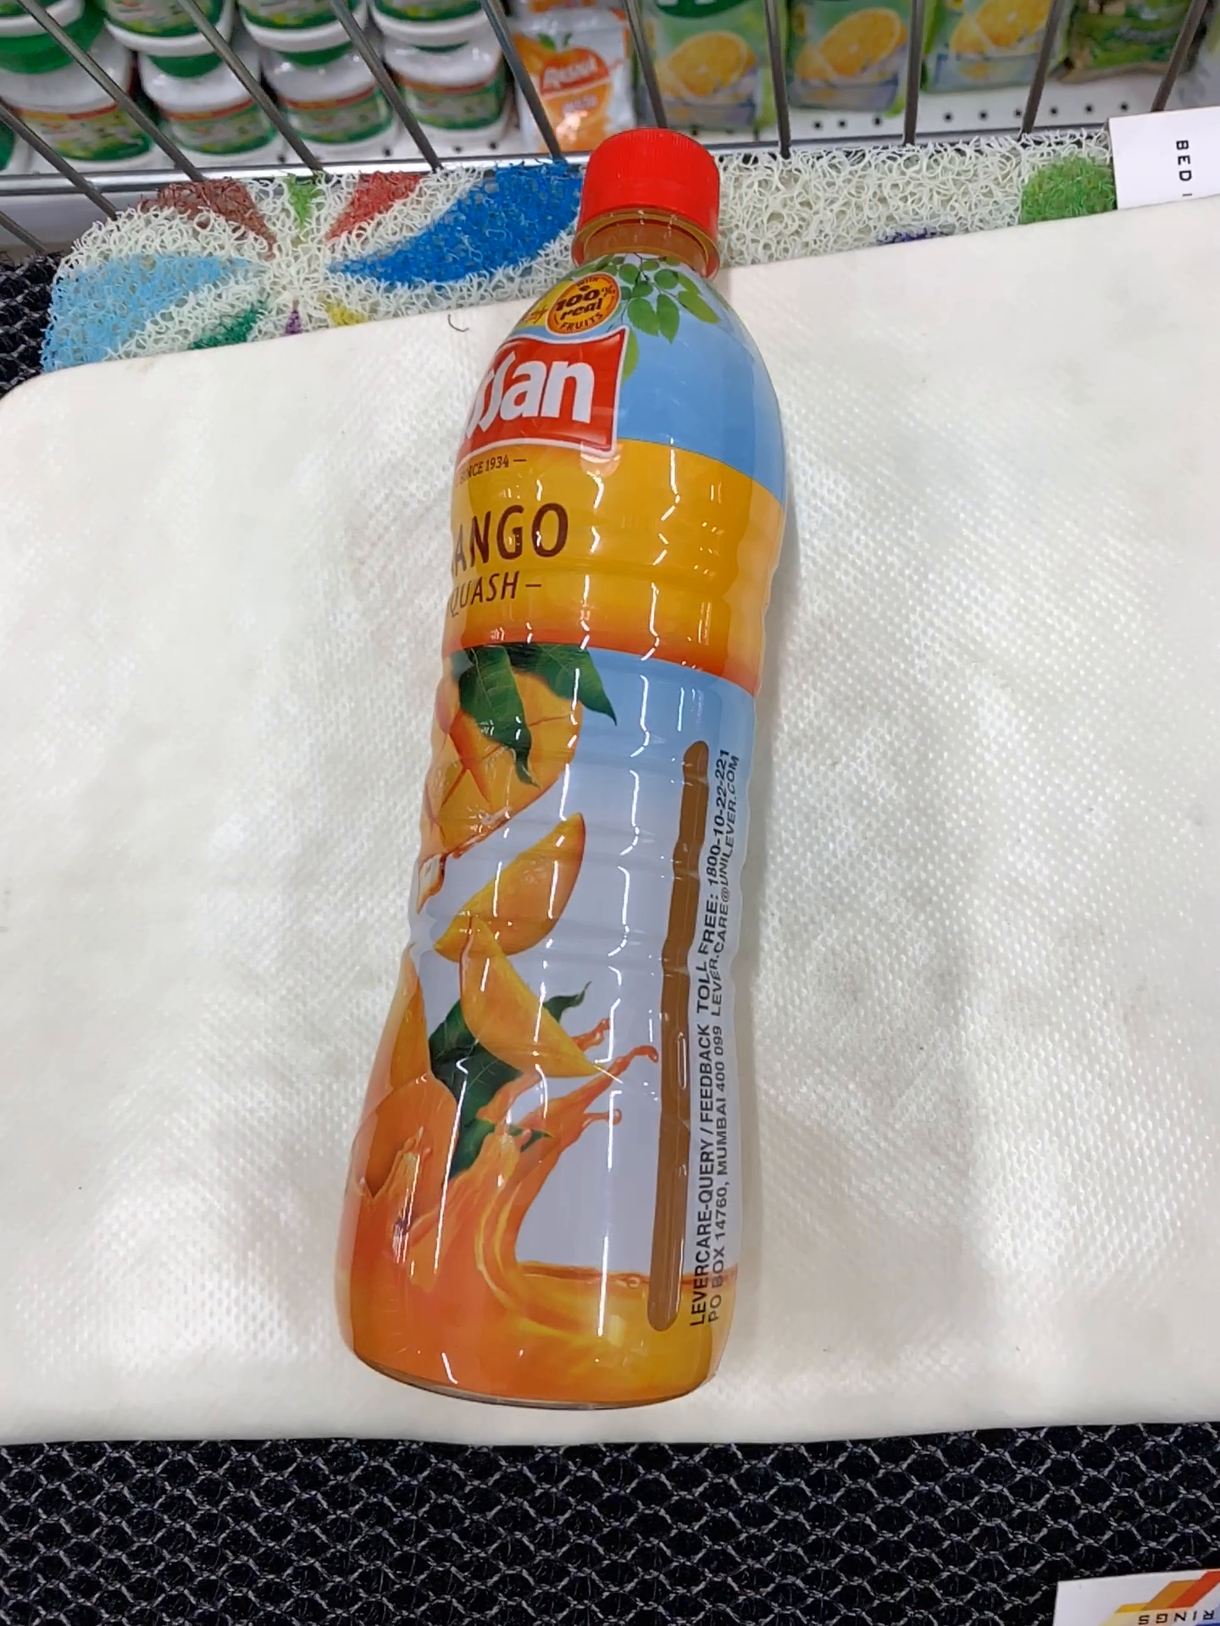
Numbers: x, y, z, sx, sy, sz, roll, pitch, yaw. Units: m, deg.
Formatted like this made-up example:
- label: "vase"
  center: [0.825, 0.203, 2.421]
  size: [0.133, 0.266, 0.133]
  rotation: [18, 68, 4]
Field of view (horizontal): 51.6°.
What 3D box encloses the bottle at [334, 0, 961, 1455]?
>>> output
- label: "bottle"
  center: [0.005, -0.019, 0.235]
  size: [0.080, 0.070, 0.230]
  rotation: [5, 87, -27]
